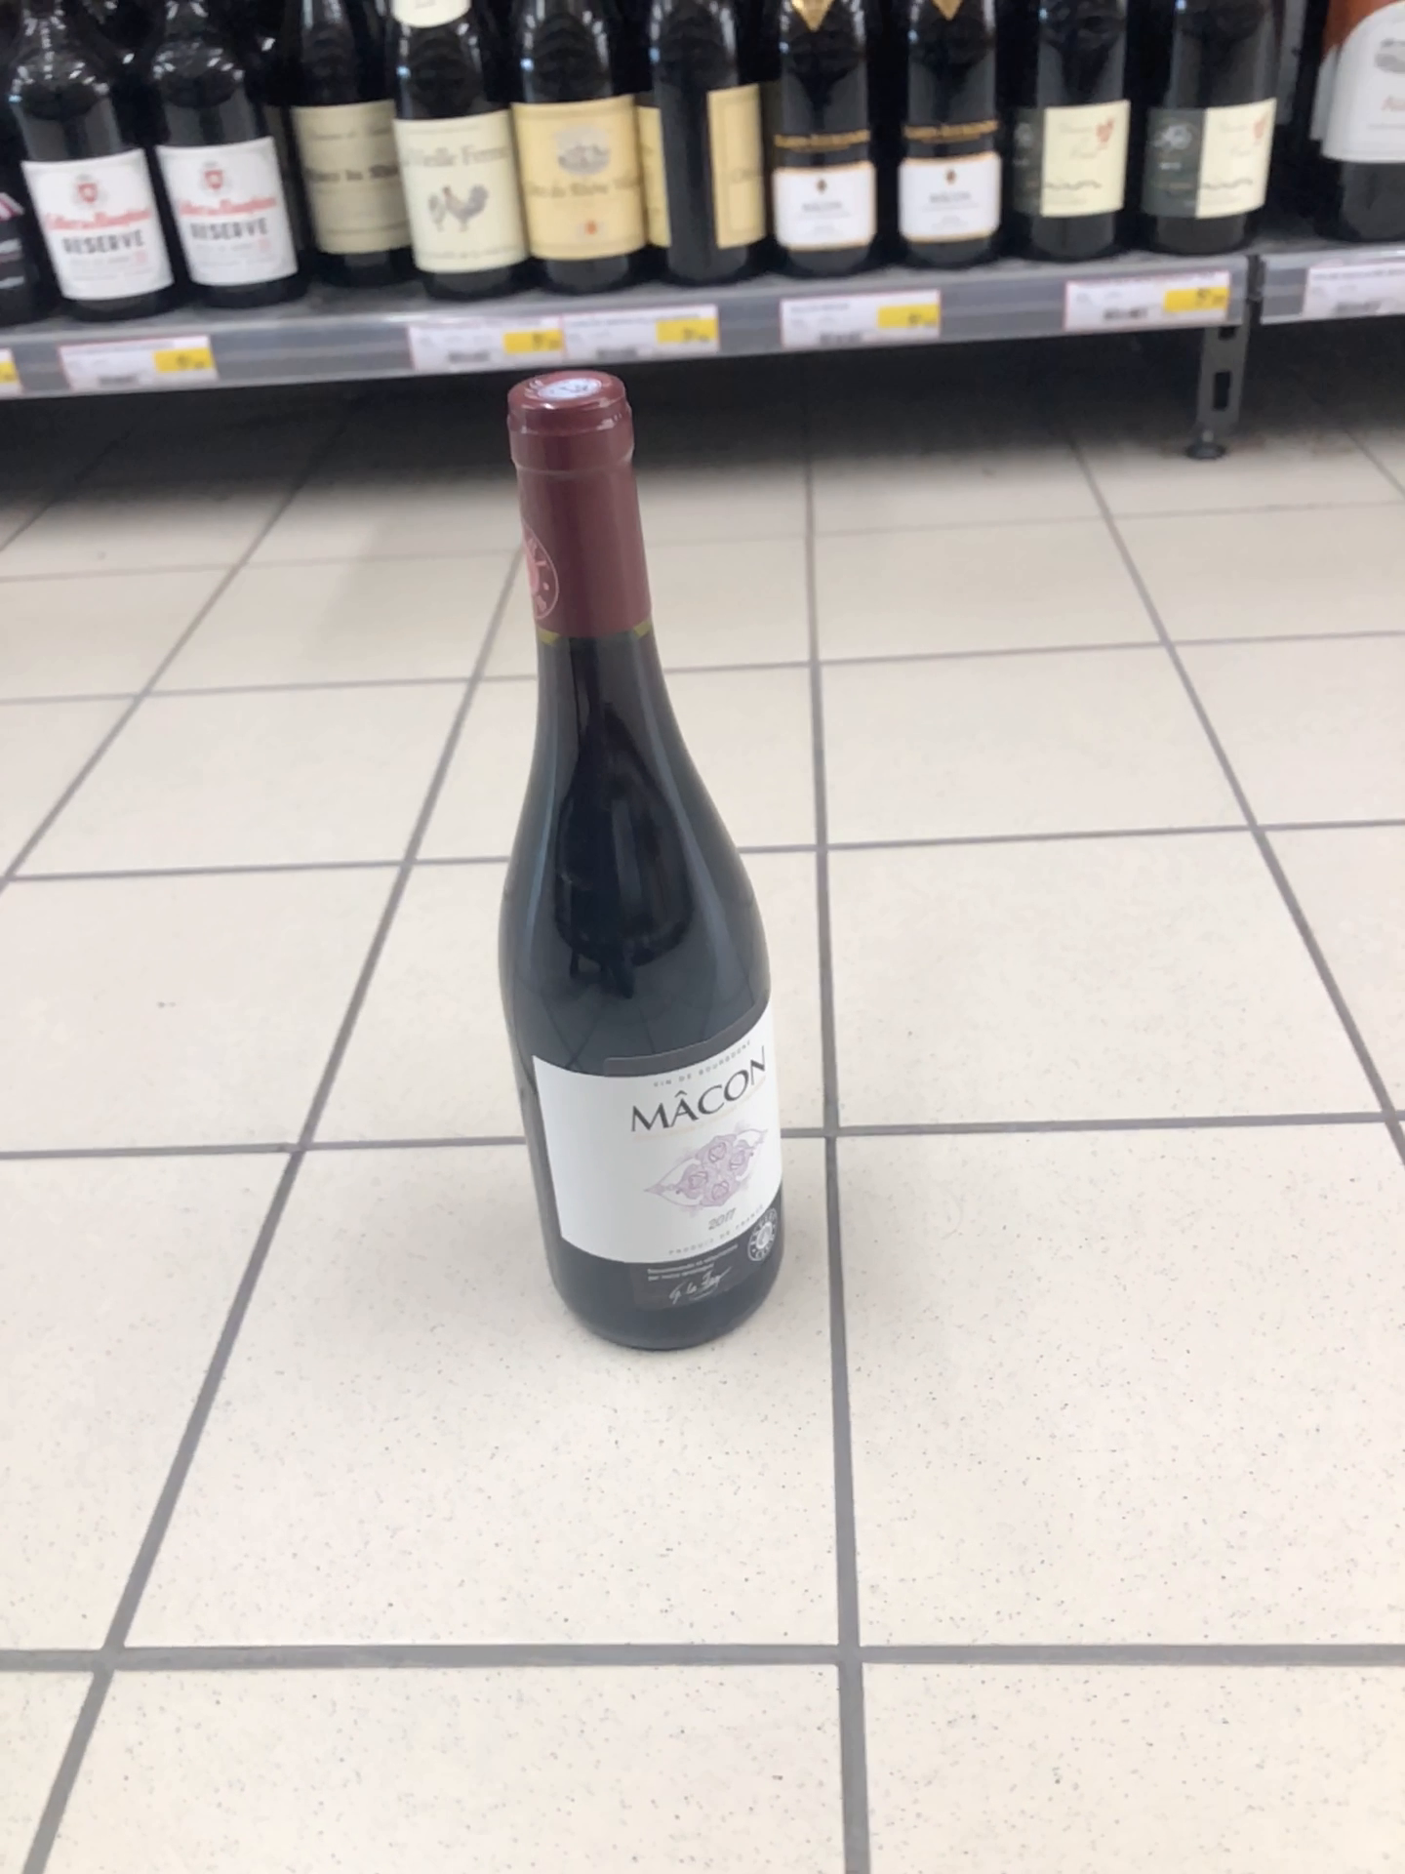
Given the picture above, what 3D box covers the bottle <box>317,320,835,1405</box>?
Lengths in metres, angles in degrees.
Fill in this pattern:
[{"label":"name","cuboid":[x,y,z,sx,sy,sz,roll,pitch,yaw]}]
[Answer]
[{"label":"bottle","cuboid":[-0.026,-0.010,0.446,0.090,0.288,0.090,-3,34,2]}]
